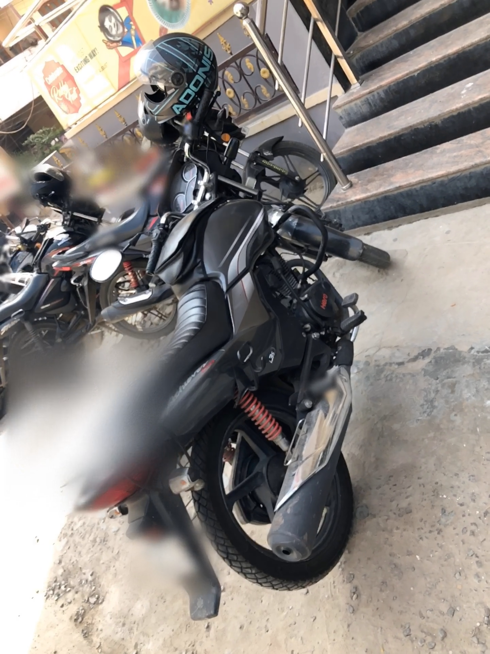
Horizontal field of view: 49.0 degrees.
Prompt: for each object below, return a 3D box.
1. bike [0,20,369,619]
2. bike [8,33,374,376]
[{"bbox_3d":[-0.185,-0.139,1.990,0.747,1.156,1.742,-23,33,29],"label":"bike"},{"bbox_3d":[-0.310,-0.683,3.145,1.599,1.057,0.686,-37,26,2],"label":"bike"}]
